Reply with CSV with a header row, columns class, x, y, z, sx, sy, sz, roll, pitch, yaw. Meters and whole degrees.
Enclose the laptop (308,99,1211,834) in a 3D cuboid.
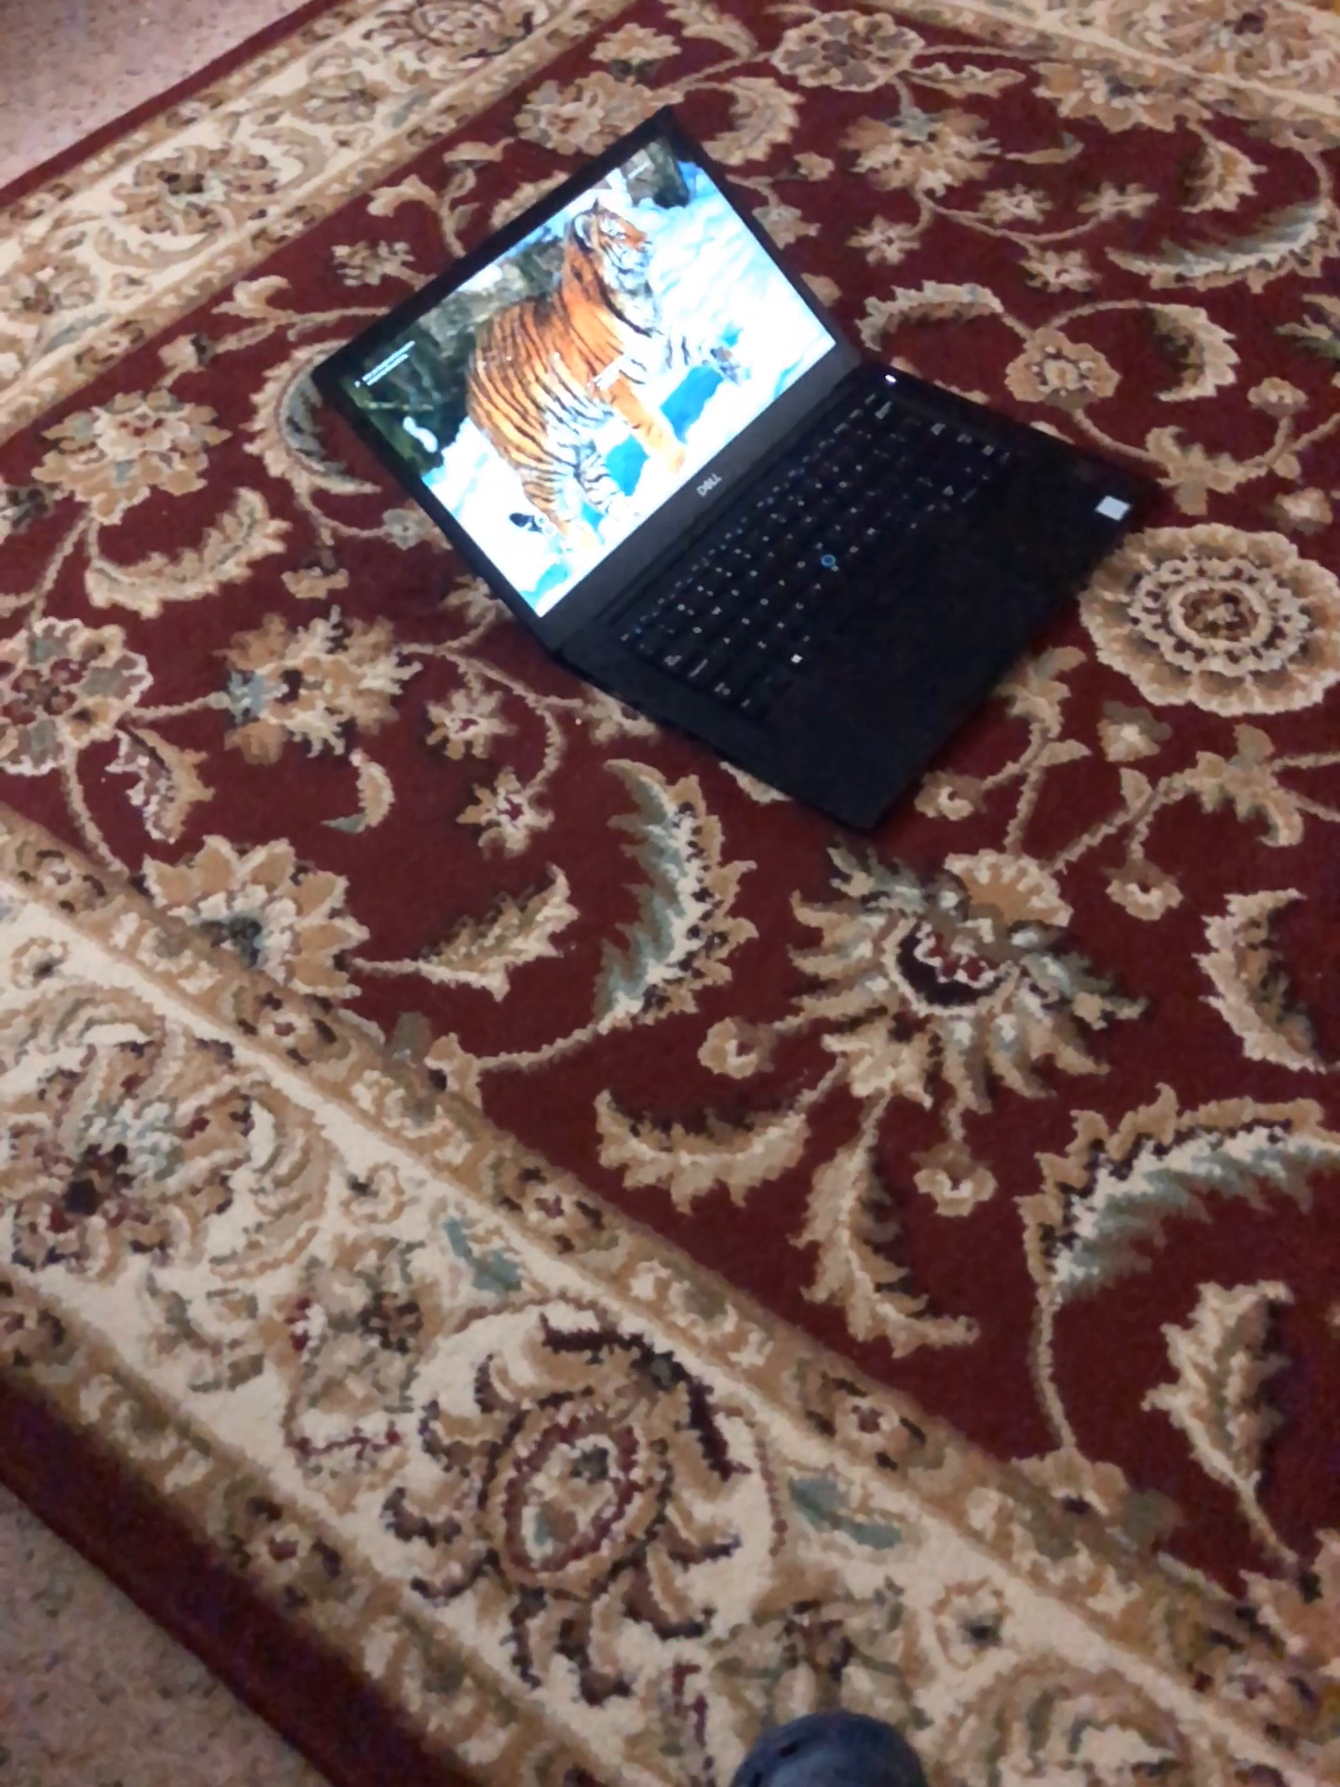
class,x,y,z,sx,sy,sz,roll,pitch,yaw
laptop,0.051,-0.274,0.873,0.384,0.124,0.328,32,65,21
